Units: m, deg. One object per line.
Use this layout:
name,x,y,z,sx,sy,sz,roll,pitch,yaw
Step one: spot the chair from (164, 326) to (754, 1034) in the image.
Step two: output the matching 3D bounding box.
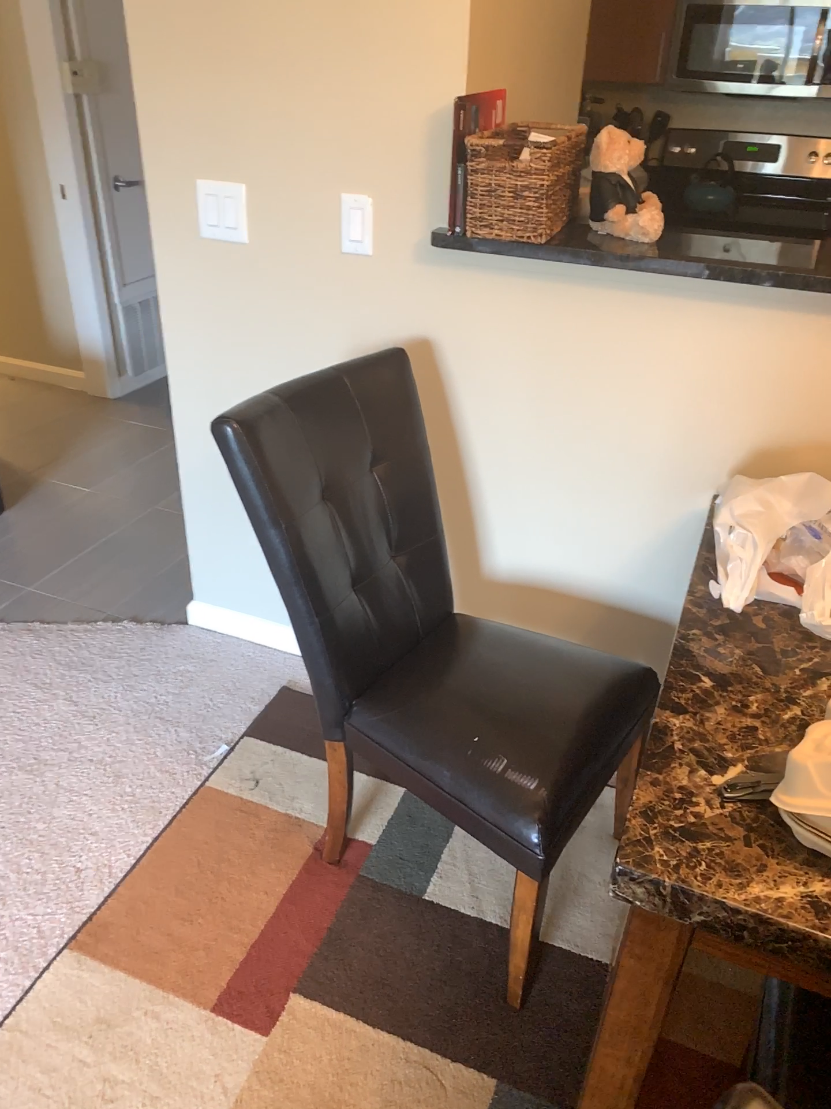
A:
chair,0.114,0.157,1.703,0.732,0.925,0.813,18,34,25
